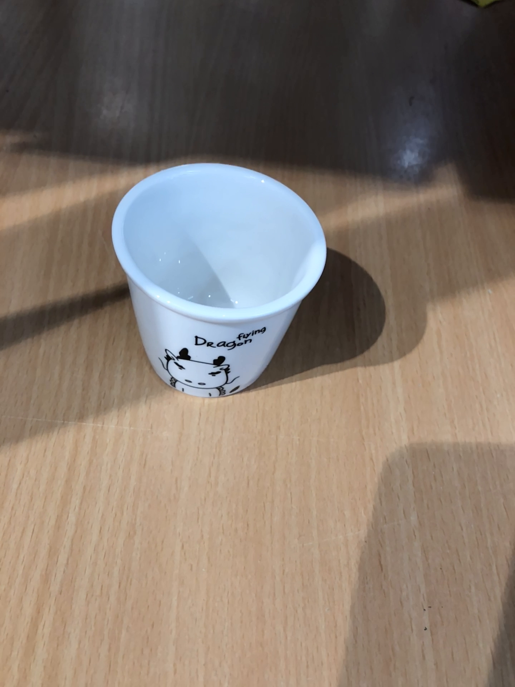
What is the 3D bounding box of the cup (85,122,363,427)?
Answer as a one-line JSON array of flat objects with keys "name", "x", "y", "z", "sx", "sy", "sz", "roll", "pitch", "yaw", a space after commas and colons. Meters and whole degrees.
[{"name": "cup", "x": -0.009, "y": -0.025, "z": 0.212, "sx": 0.080, "sy": 0.060, "sz": 0.080, "roll": 5, "pitch": 53, "yaw": -6}]
